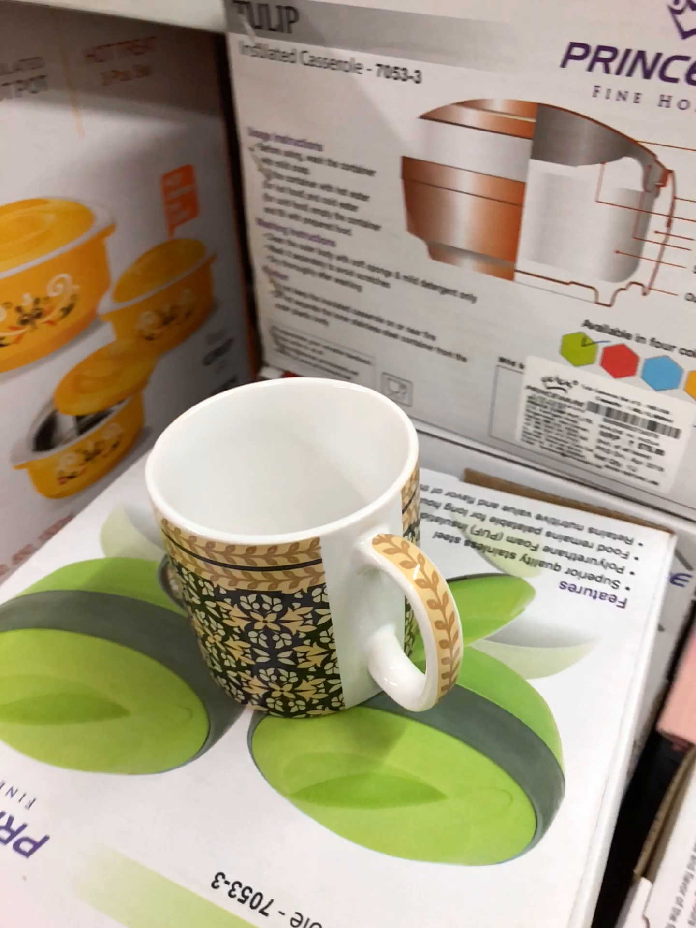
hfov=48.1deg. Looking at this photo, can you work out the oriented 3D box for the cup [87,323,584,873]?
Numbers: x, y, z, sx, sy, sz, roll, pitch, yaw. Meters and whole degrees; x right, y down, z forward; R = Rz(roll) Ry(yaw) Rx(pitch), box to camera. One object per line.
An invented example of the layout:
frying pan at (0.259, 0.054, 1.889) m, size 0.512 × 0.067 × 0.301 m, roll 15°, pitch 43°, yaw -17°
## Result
cup at (-0.006, 0.029, 0.222) m, size 0.070 × 0.089 × 0.110 m, roll -30°, pitch 43°, yaw -31°
